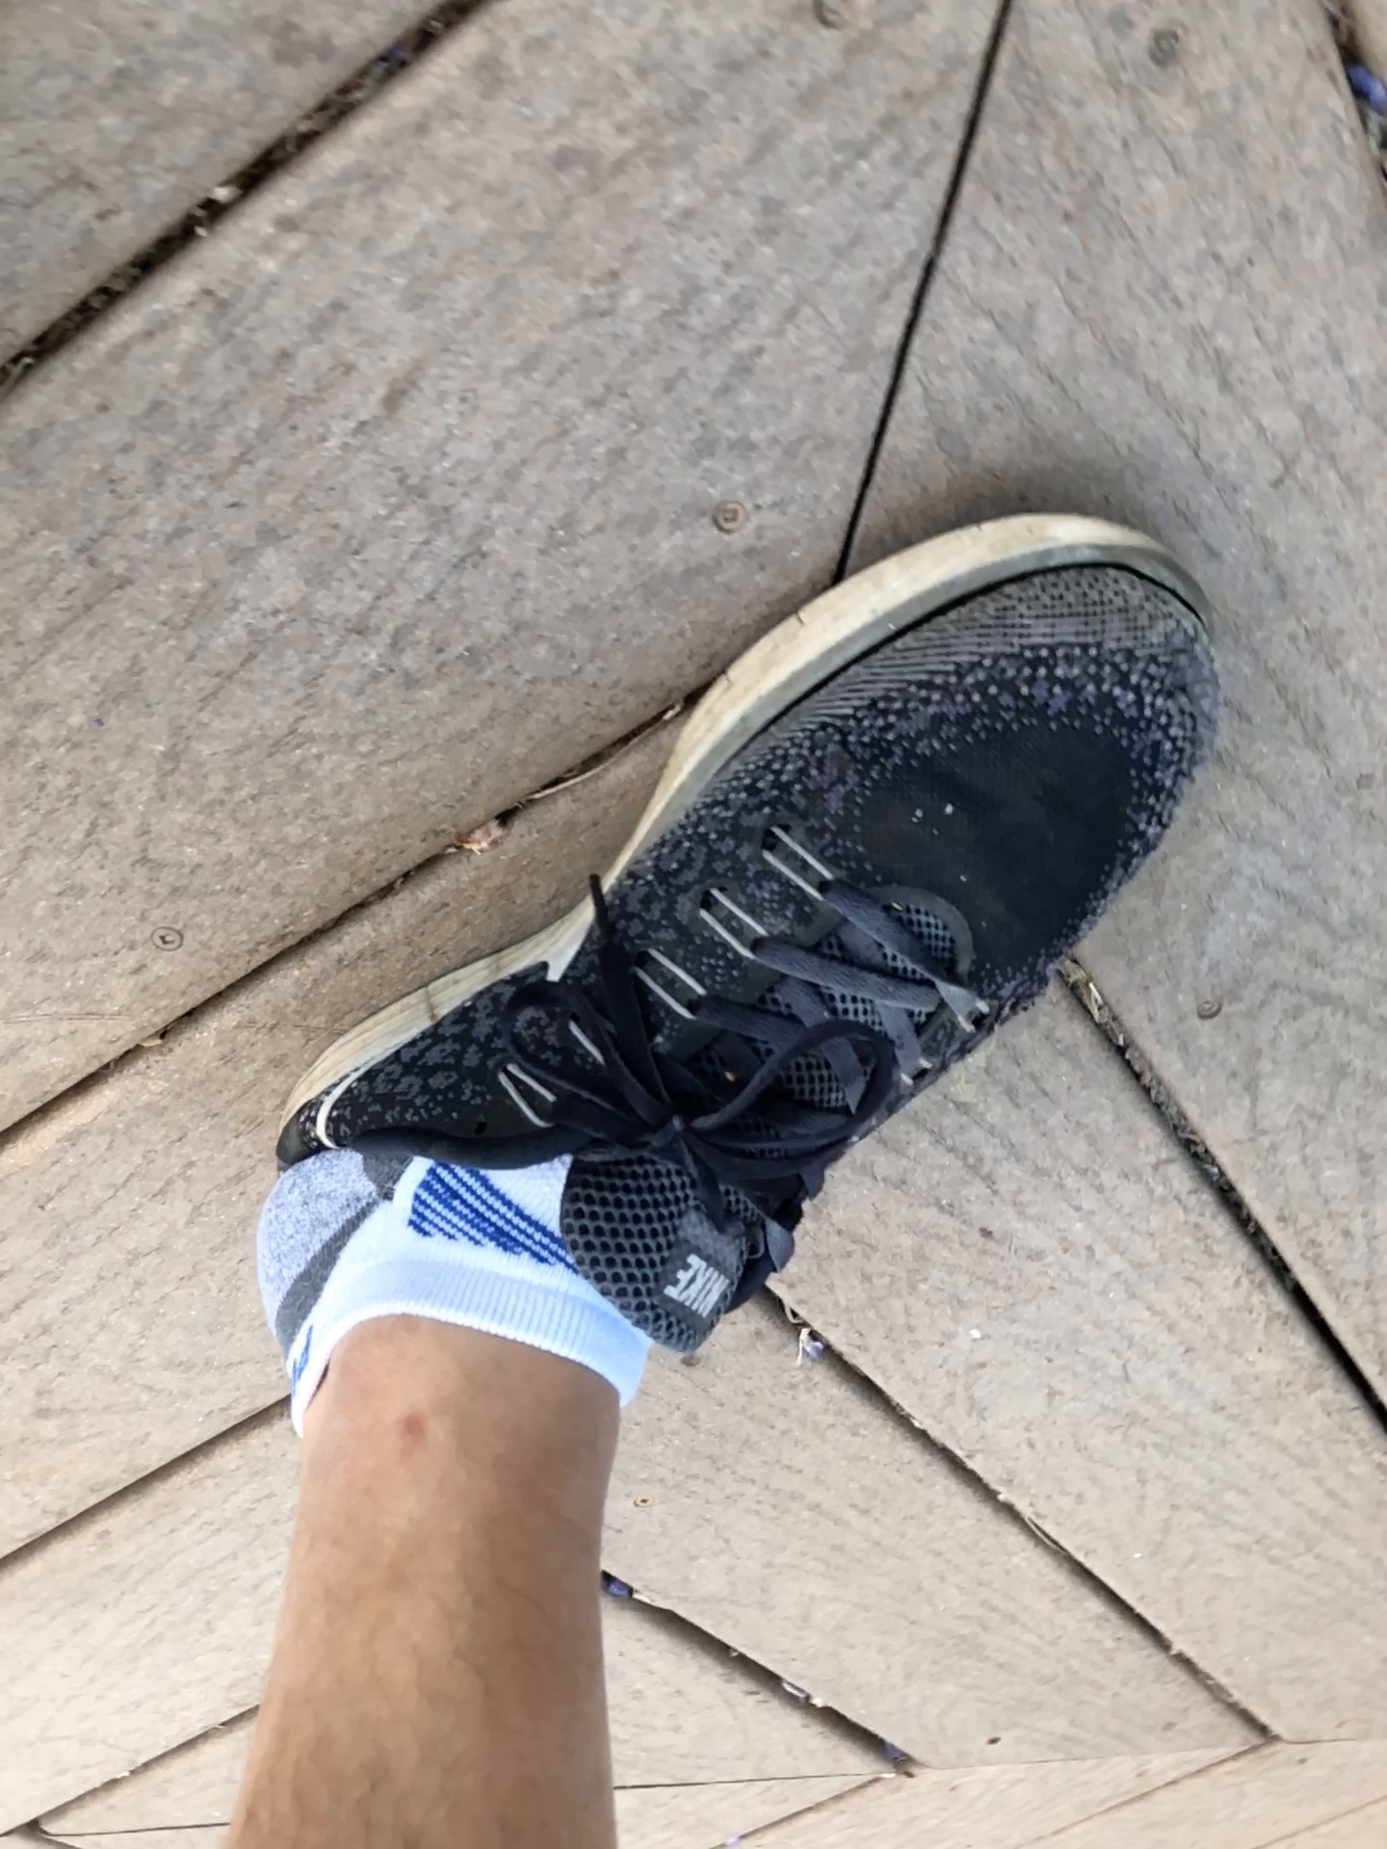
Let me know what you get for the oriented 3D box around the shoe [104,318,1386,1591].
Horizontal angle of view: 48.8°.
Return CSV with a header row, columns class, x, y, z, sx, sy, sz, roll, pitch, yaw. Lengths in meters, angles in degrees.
class,x,y,z,sx,sy,sz,roll,pitch,yaw
shoe,0.006,0.023,0.380,0.300,0.100,0.130,-43,122,17
